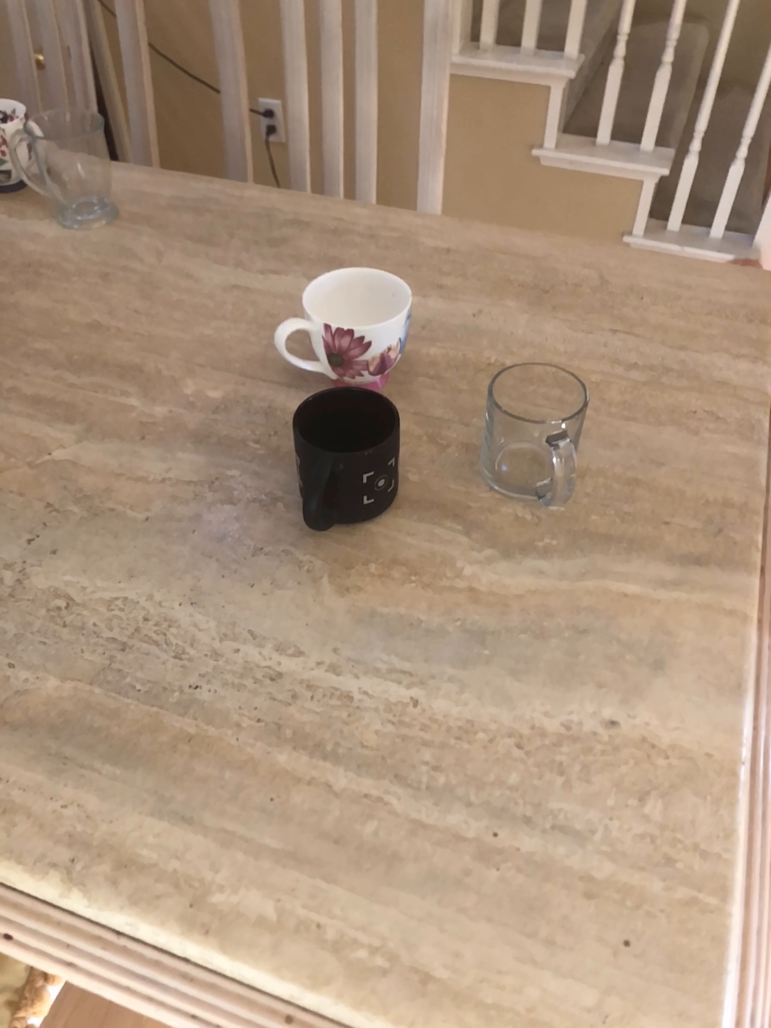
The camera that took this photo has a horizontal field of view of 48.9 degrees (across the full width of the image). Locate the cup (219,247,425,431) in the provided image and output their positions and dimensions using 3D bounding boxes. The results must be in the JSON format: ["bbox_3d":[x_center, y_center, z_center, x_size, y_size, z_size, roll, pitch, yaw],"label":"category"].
[{"bbox_3d":[-0.062,-0.178,0.848,0.161,0.089,0.121,-25,51,-23],"label":"cup"}]

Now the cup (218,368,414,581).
[{"bbox_3d":[-0.054,-0.037,0.731,0.100,0.089,0.141,23,50,20],"label":"cup"}]

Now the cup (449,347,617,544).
[{"bbox_3d":[0.123,-0.063,0.747,0.090,0.089,0.141,-11,47,-10],"label":"cup"}]
